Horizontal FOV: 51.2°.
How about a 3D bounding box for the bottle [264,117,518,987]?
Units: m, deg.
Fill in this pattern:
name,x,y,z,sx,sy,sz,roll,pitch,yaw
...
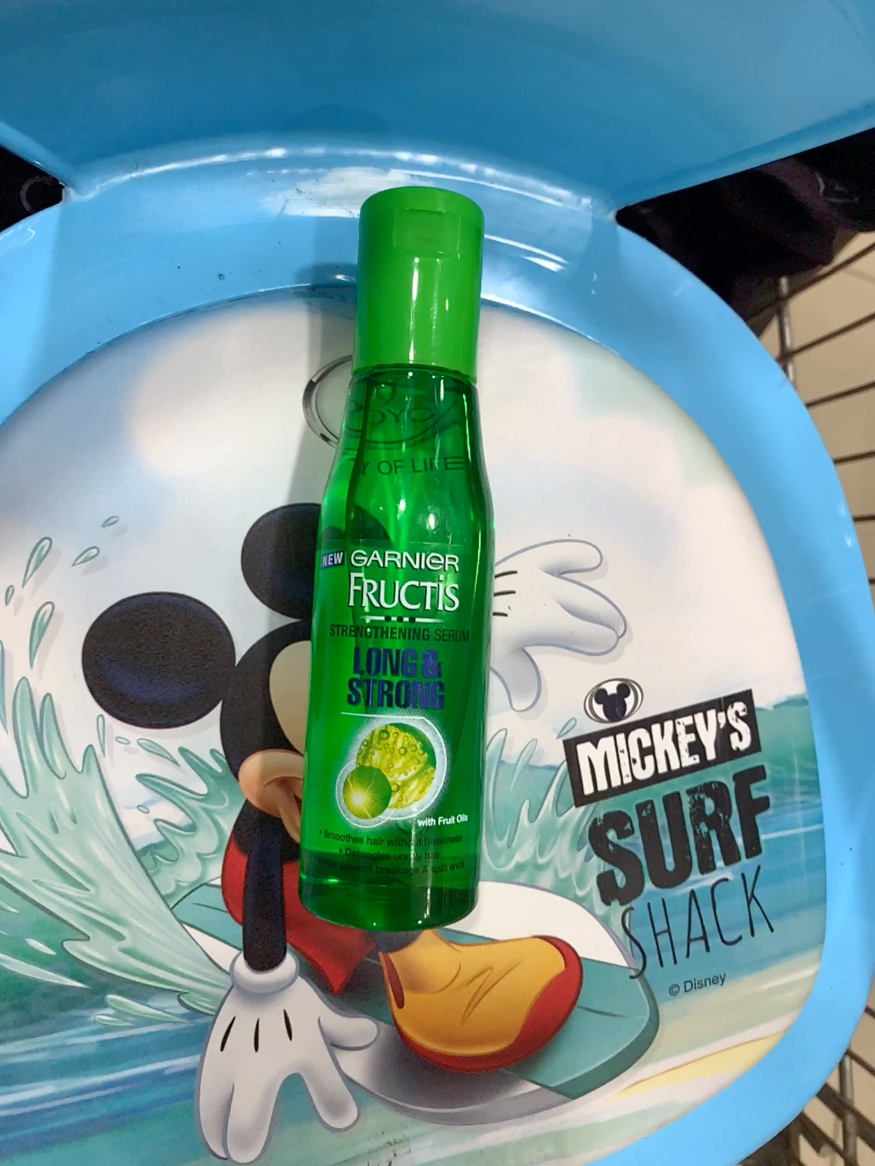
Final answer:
name,x,y,z,sx,sy,sz,roll,pitch,yaw
bottle,-0.006,-0.007,0.190,0.040,0.040,0.160,1,86,8
